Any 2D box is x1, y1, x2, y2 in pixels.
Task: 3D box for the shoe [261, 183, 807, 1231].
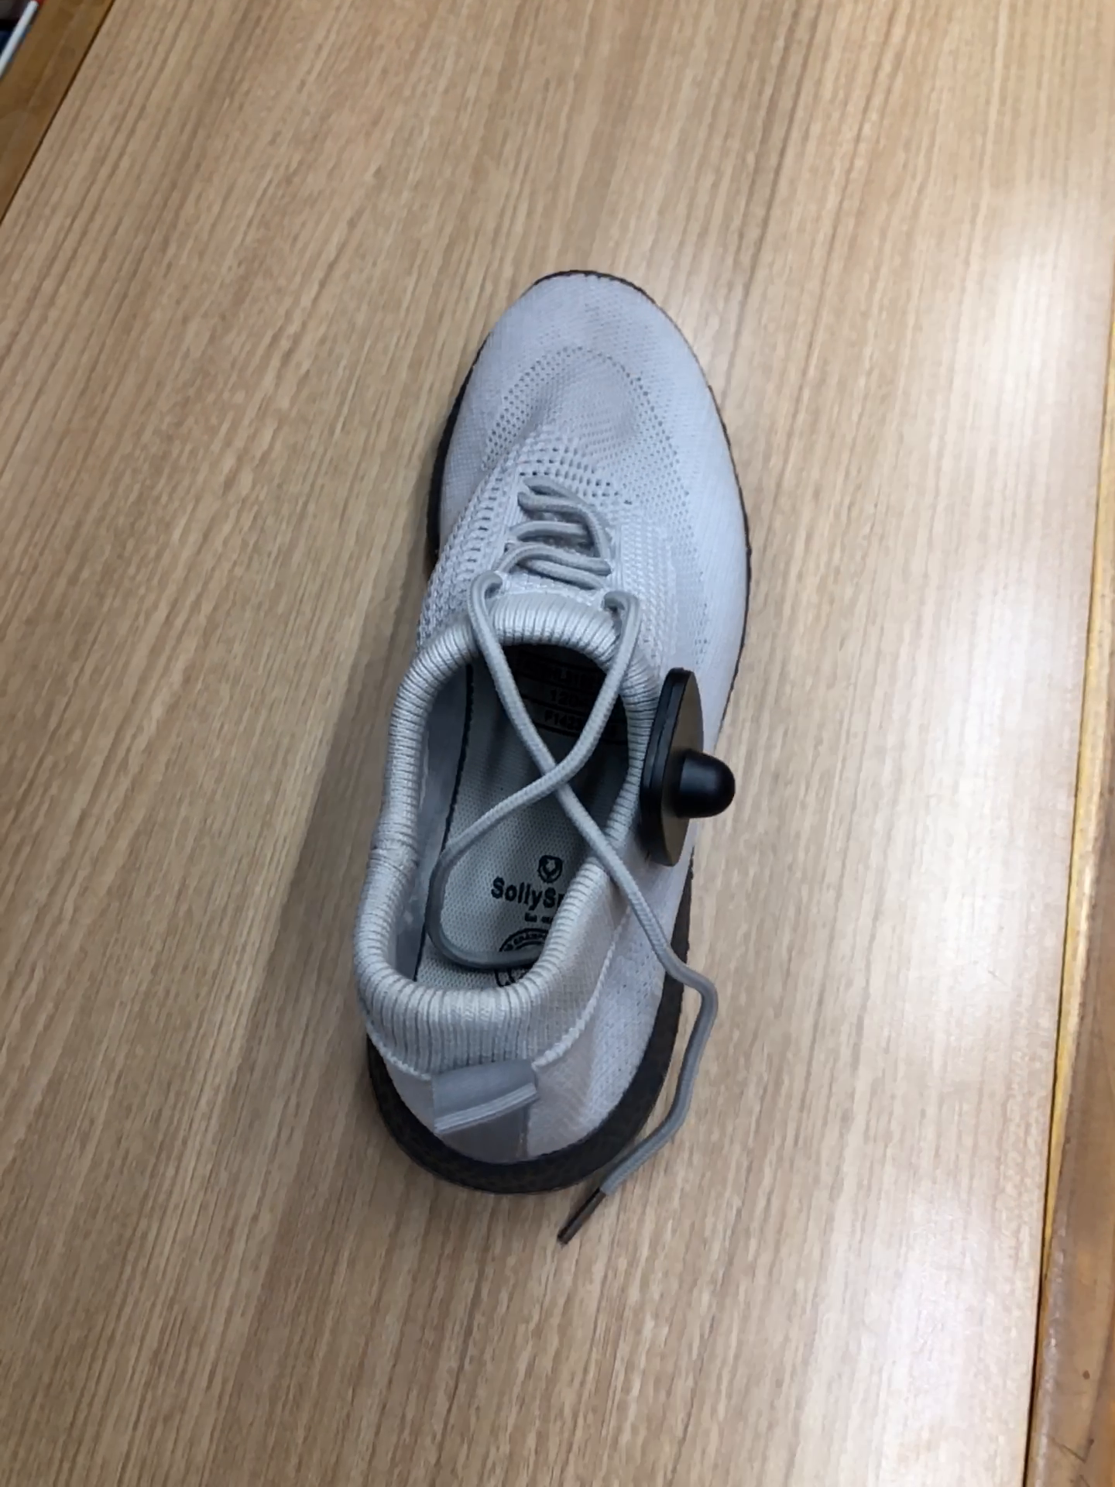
[{"bbox_3d":[0.003,-0.012,0.354,0.100,0.100,0.271,8,69,1],"label":"shoe"}]
